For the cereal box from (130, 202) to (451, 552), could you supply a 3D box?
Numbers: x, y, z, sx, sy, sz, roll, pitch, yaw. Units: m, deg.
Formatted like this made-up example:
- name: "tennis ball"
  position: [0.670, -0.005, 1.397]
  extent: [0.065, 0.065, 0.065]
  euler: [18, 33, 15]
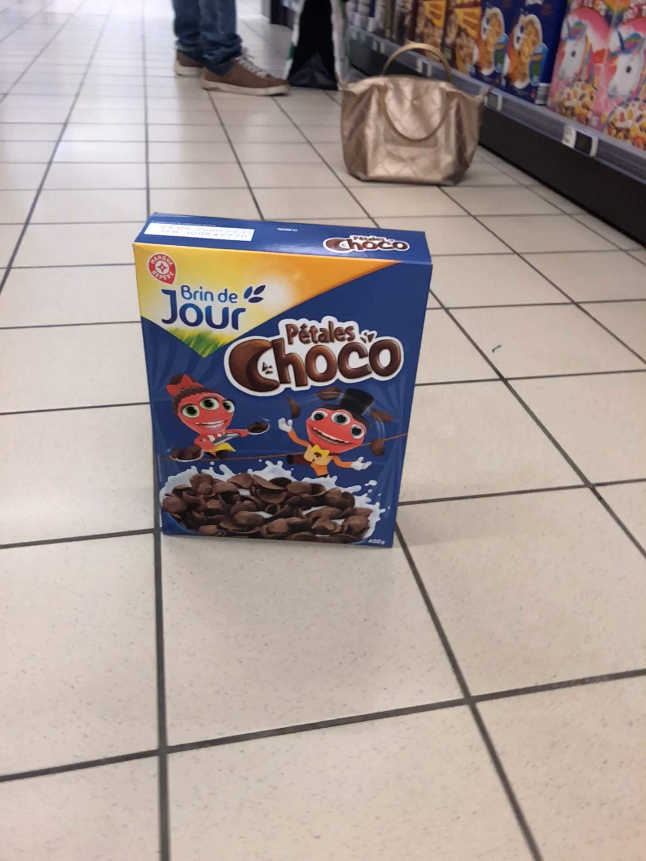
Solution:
- name: "cereal box"
  position: [-0.024, -0.031, 0.540]
  extent: [0.200, 0.249, 0.070]
  euler: [4, 34, 1]
